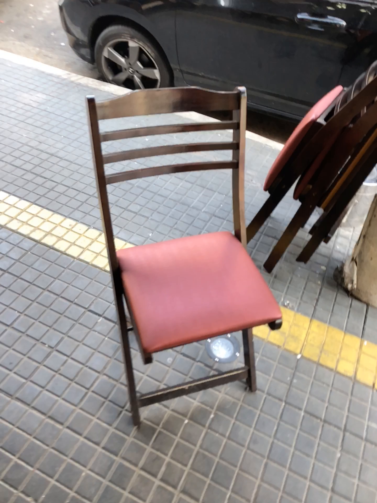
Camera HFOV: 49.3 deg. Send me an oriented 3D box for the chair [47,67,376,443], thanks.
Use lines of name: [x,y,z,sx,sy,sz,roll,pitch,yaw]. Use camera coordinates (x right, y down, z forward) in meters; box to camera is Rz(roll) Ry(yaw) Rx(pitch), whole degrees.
chair: [-0.025,0.043,1.107,0.511,0.844,0.483,-11,48,-17]
